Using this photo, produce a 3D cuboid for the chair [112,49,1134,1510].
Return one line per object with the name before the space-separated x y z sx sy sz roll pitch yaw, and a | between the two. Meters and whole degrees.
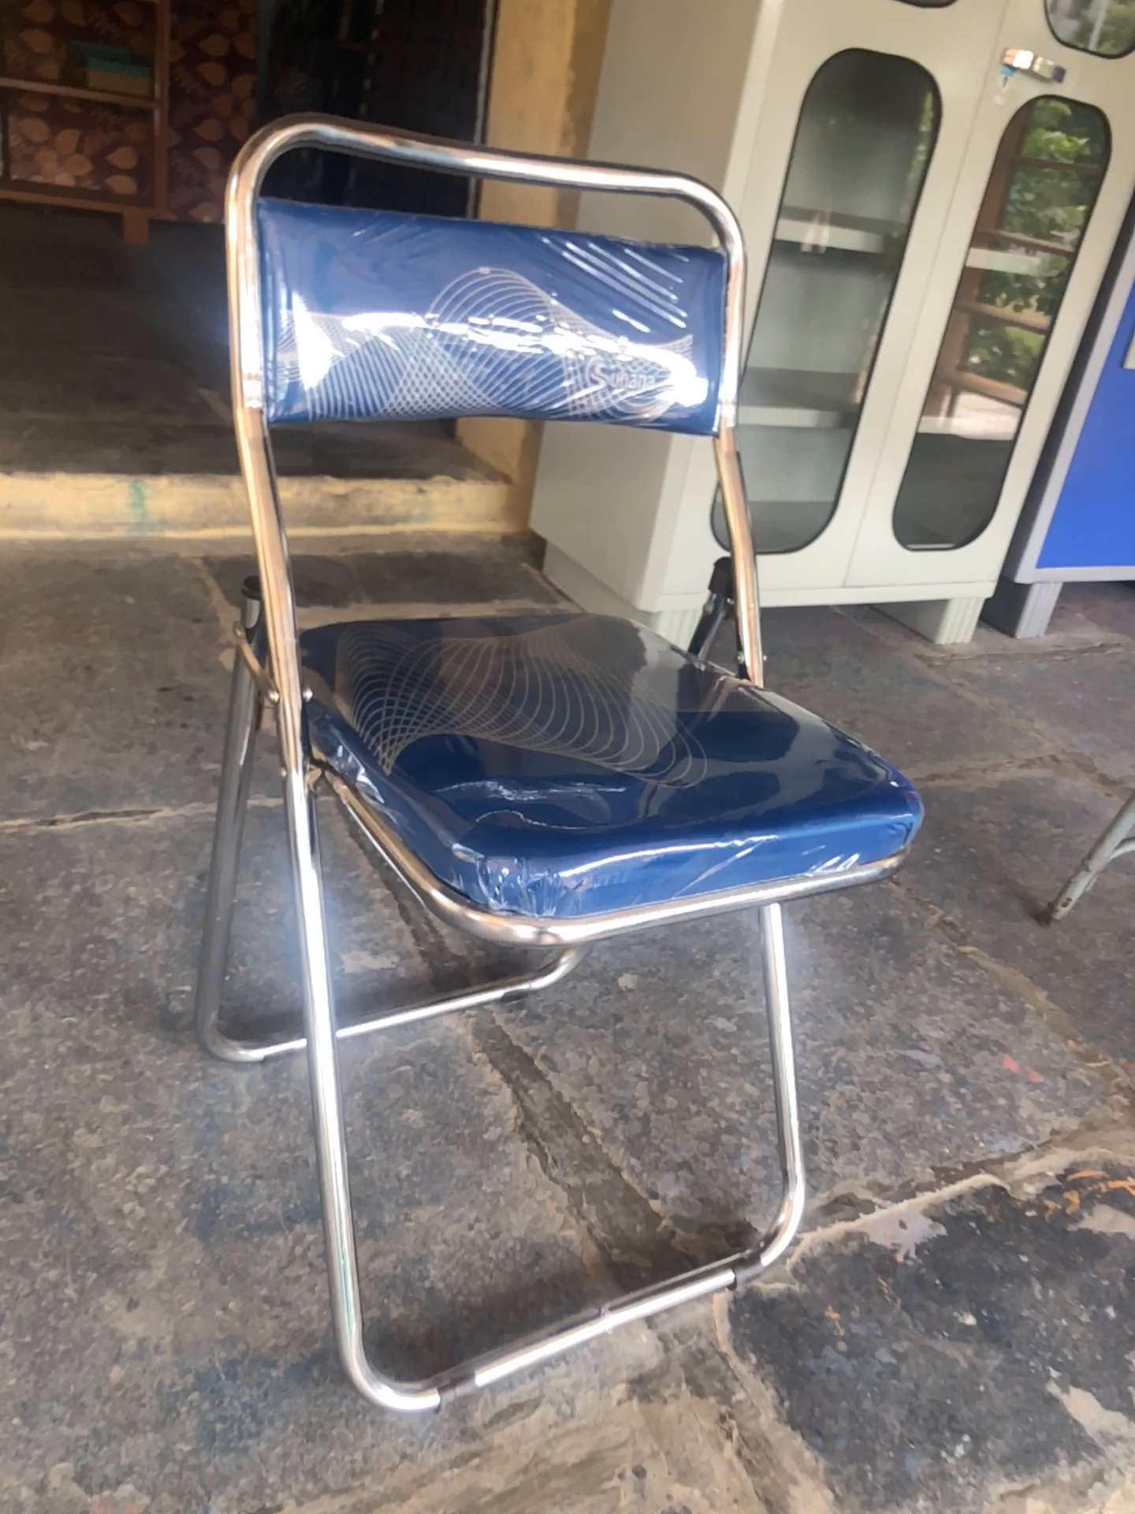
chair | -0.015 -0.022 0.941 0.502 0.806 0.511 -8 31 -32
